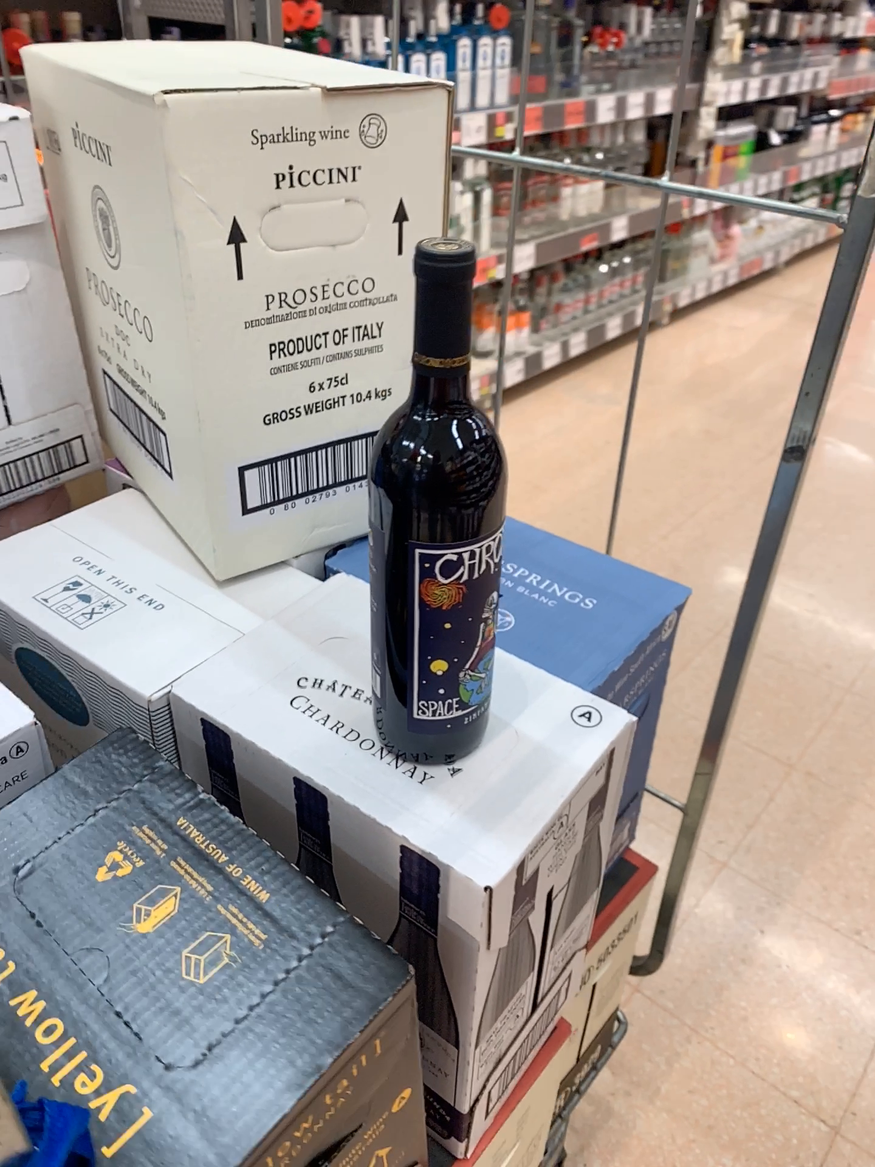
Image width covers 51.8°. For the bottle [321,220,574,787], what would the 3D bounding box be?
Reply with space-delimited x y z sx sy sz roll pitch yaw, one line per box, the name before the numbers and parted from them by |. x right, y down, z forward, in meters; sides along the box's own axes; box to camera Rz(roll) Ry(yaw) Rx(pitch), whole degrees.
bottle | 0.002 -0.034 0.491 0.085 0.284 0.086 1 33 -1
